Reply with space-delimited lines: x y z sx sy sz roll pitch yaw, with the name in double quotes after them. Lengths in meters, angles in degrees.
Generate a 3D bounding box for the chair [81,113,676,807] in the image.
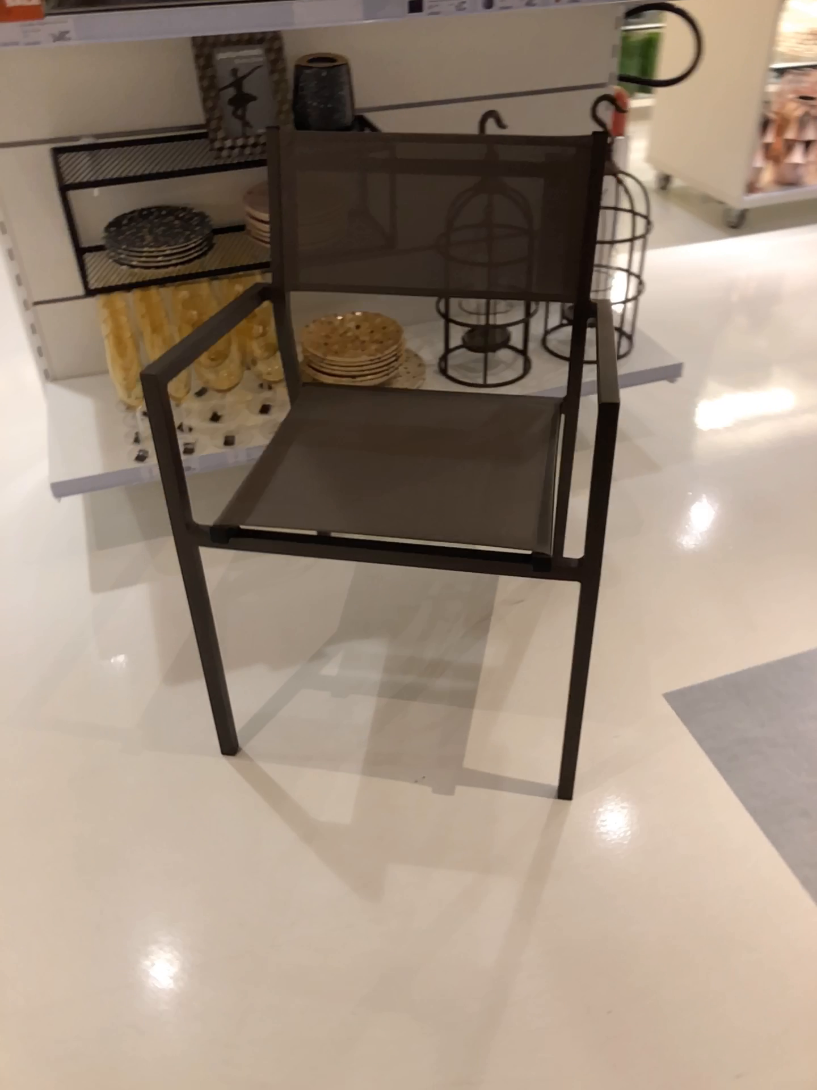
0.017 -0.136 1.305 0.570 0.764 0.585 5 39 9 "chair"
